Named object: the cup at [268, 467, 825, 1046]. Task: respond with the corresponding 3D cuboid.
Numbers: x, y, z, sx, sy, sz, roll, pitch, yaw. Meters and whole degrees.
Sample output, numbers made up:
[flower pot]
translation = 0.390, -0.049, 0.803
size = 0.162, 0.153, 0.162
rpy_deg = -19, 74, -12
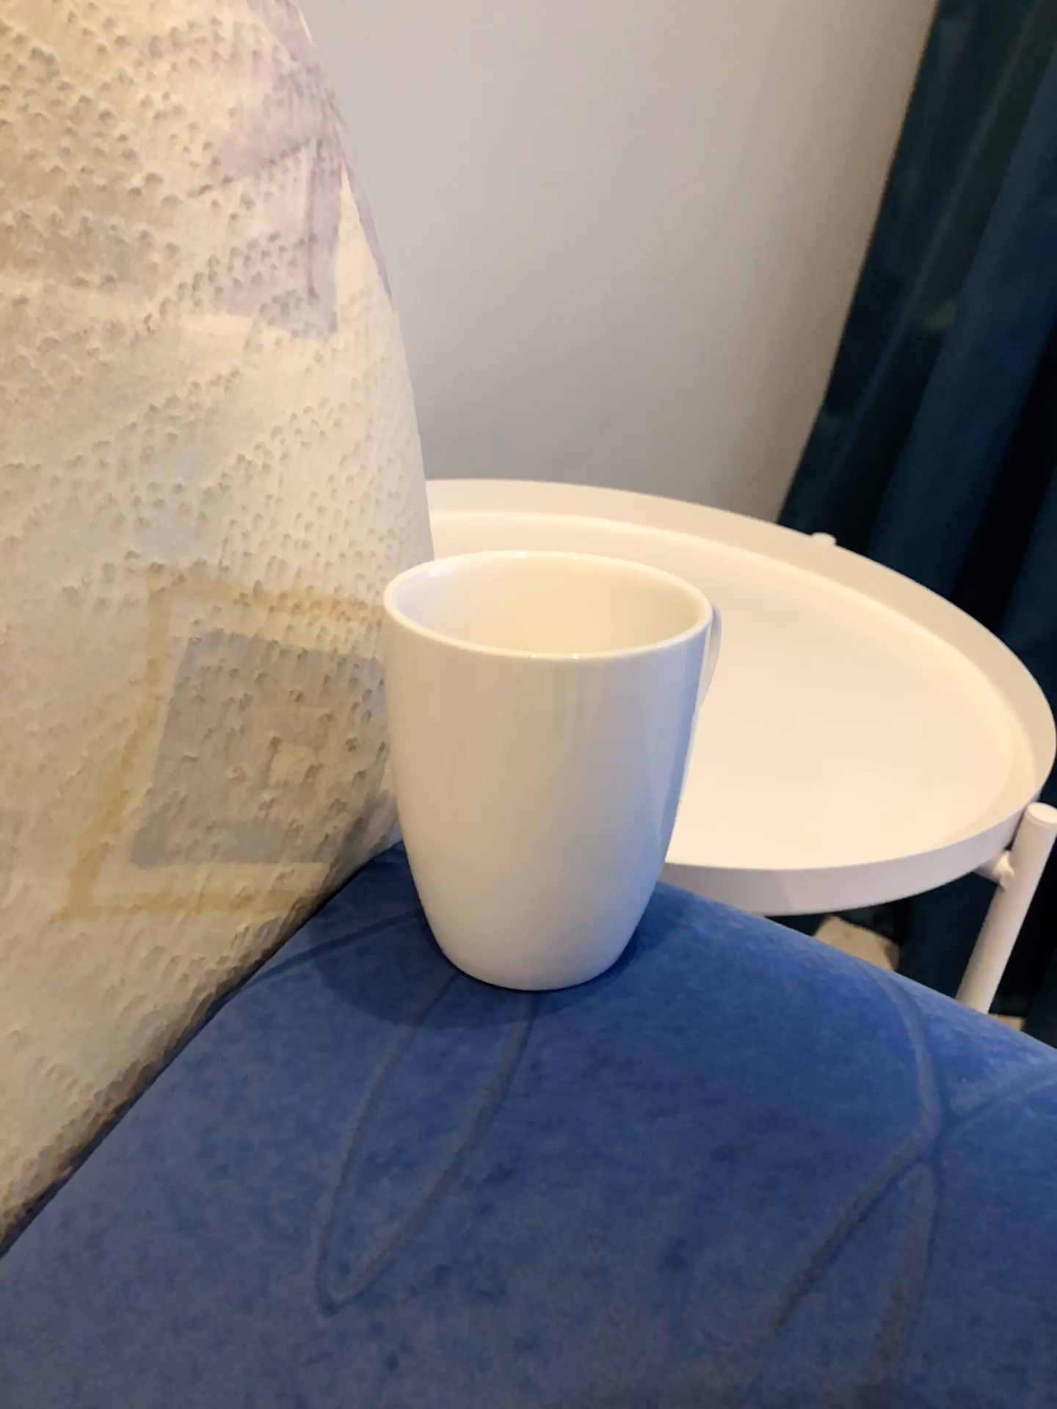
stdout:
[cup]
translation = 0.007, 0.002, 0.277
size = 0.080, 0.079, 0.111
rpy_deg = 20, 29, 25
